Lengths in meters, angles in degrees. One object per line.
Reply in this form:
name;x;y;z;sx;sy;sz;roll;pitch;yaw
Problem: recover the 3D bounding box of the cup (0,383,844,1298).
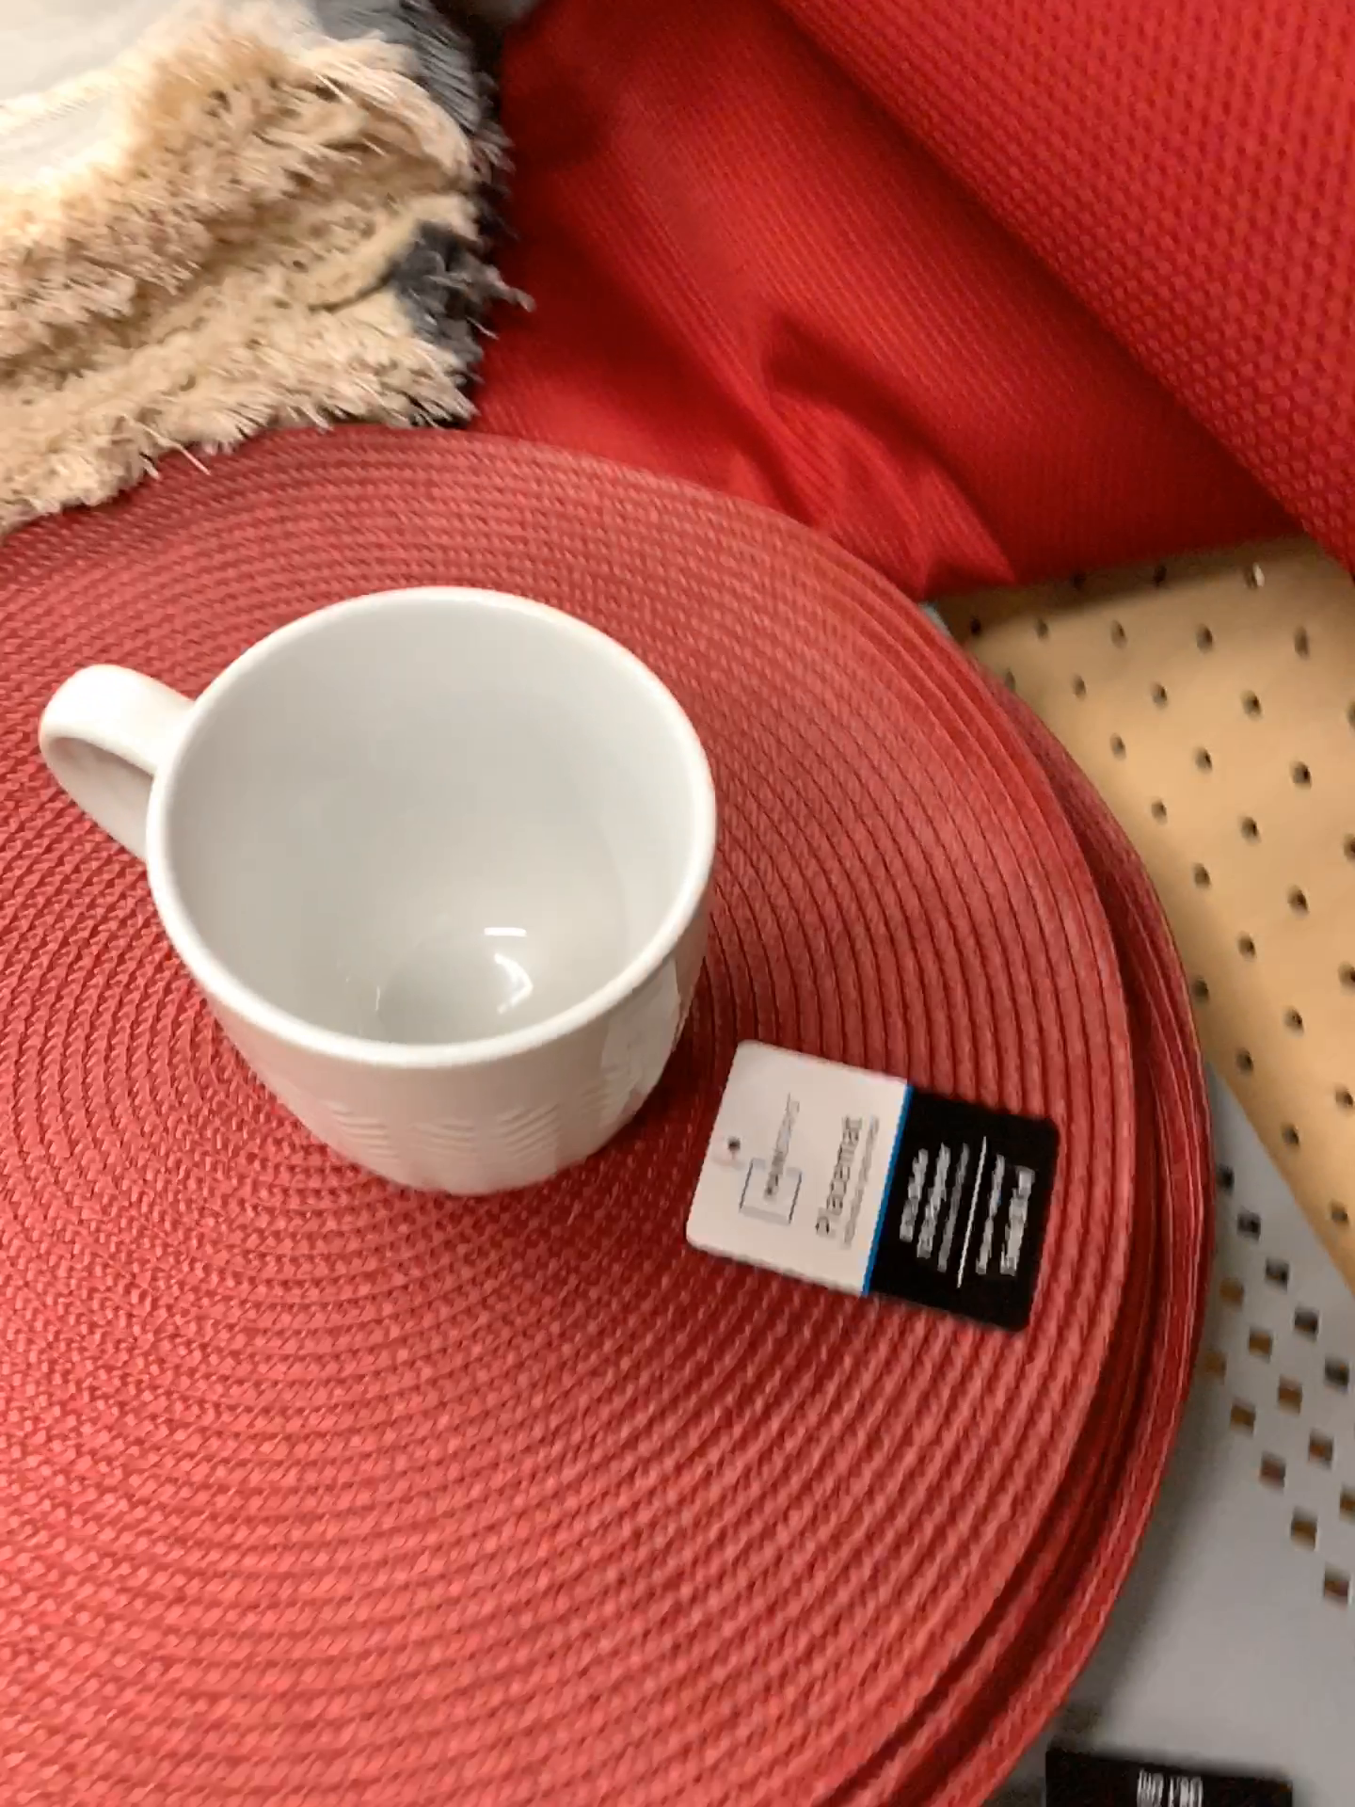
cup;-0.059;-0.015;0.270;0.140;0.090;0.100;23;50;9
